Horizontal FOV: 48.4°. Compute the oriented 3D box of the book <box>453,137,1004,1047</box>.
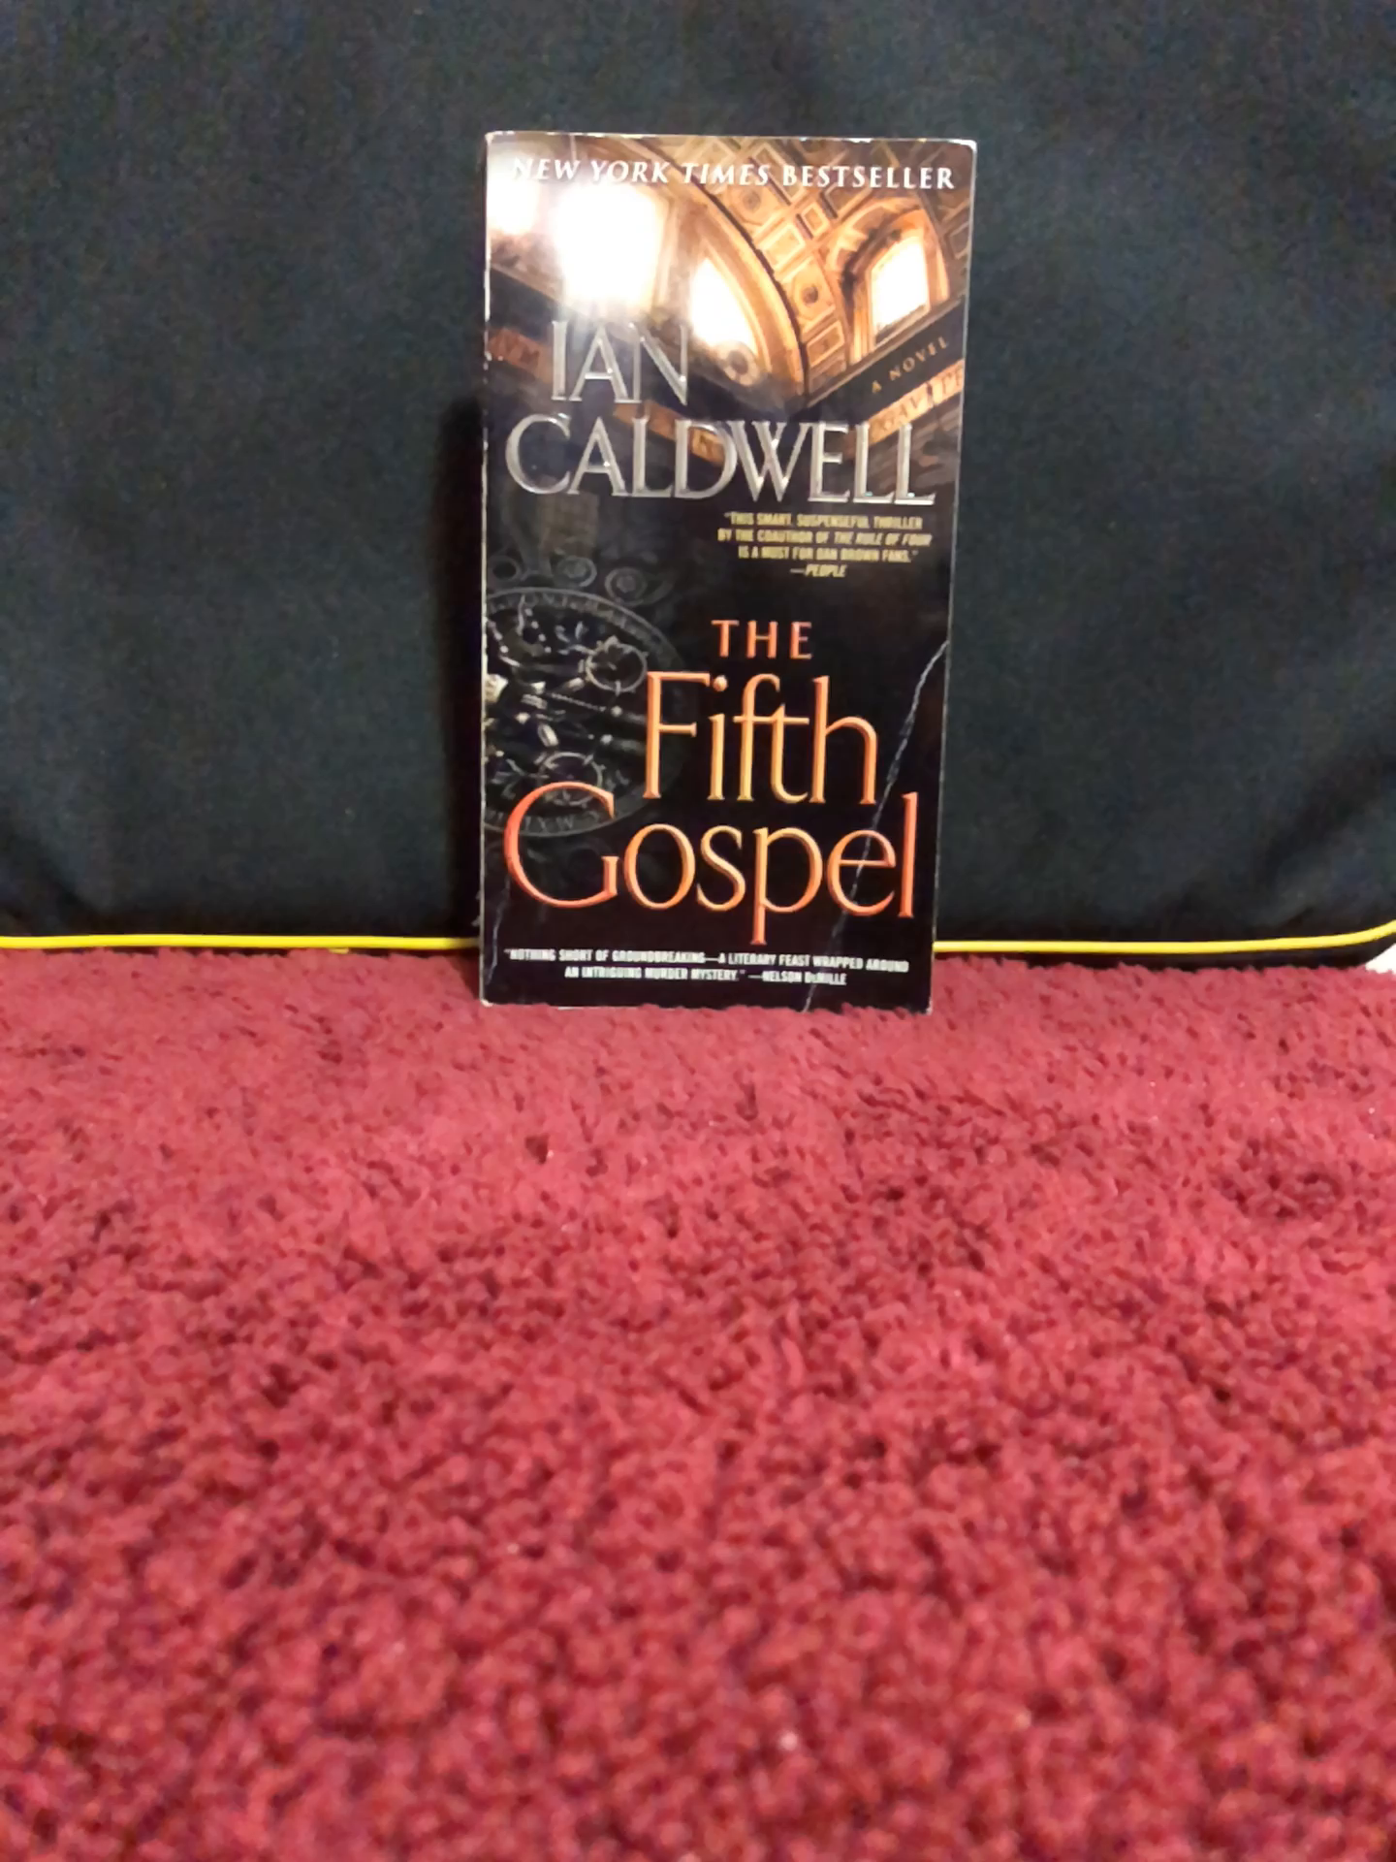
[{"bbox_3d":[0.006,-0.078,0.377,0.120,0.200,0.050,2,6,5],"label":"book"}]
